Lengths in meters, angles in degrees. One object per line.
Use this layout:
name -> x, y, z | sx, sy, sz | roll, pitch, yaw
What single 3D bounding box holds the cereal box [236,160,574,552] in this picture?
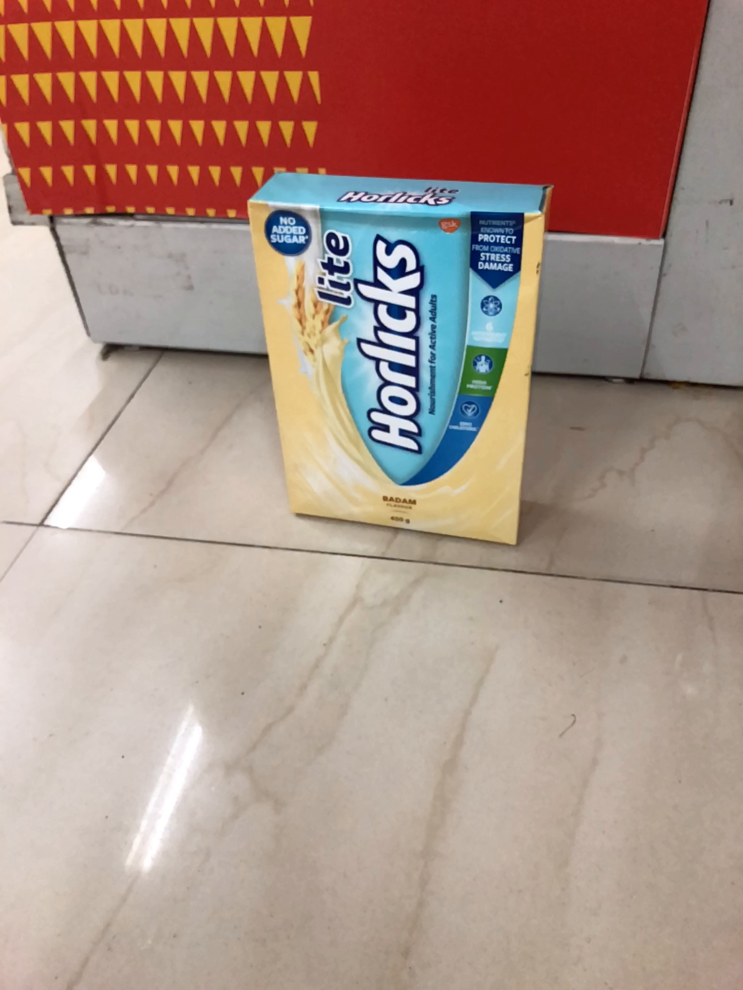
cereal box -> 0.019, -0.070, 0.441 | 0.150, 0.189, 0.050 | 8, 36, 13
